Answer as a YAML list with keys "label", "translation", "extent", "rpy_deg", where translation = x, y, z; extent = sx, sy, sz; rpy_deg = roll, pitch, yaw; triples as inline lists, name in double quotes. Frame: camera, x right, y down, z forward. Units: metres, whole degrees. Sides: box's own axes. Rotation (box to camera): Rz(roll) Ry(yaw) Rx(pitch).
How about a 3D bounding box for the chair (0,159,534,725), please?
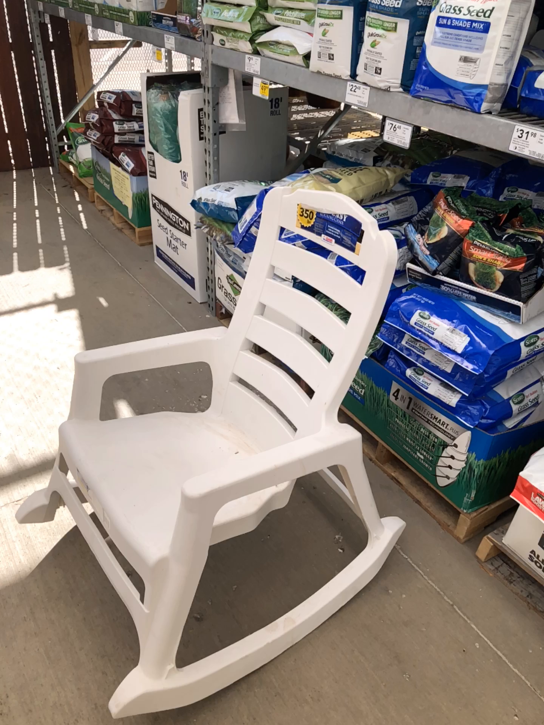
- label: "chair"
  translation: [-0.155, 0.118, 1.483]
  extent: [1.033, 0.927, 0.847]
  rpy_deg: [-19, 39, -32]
